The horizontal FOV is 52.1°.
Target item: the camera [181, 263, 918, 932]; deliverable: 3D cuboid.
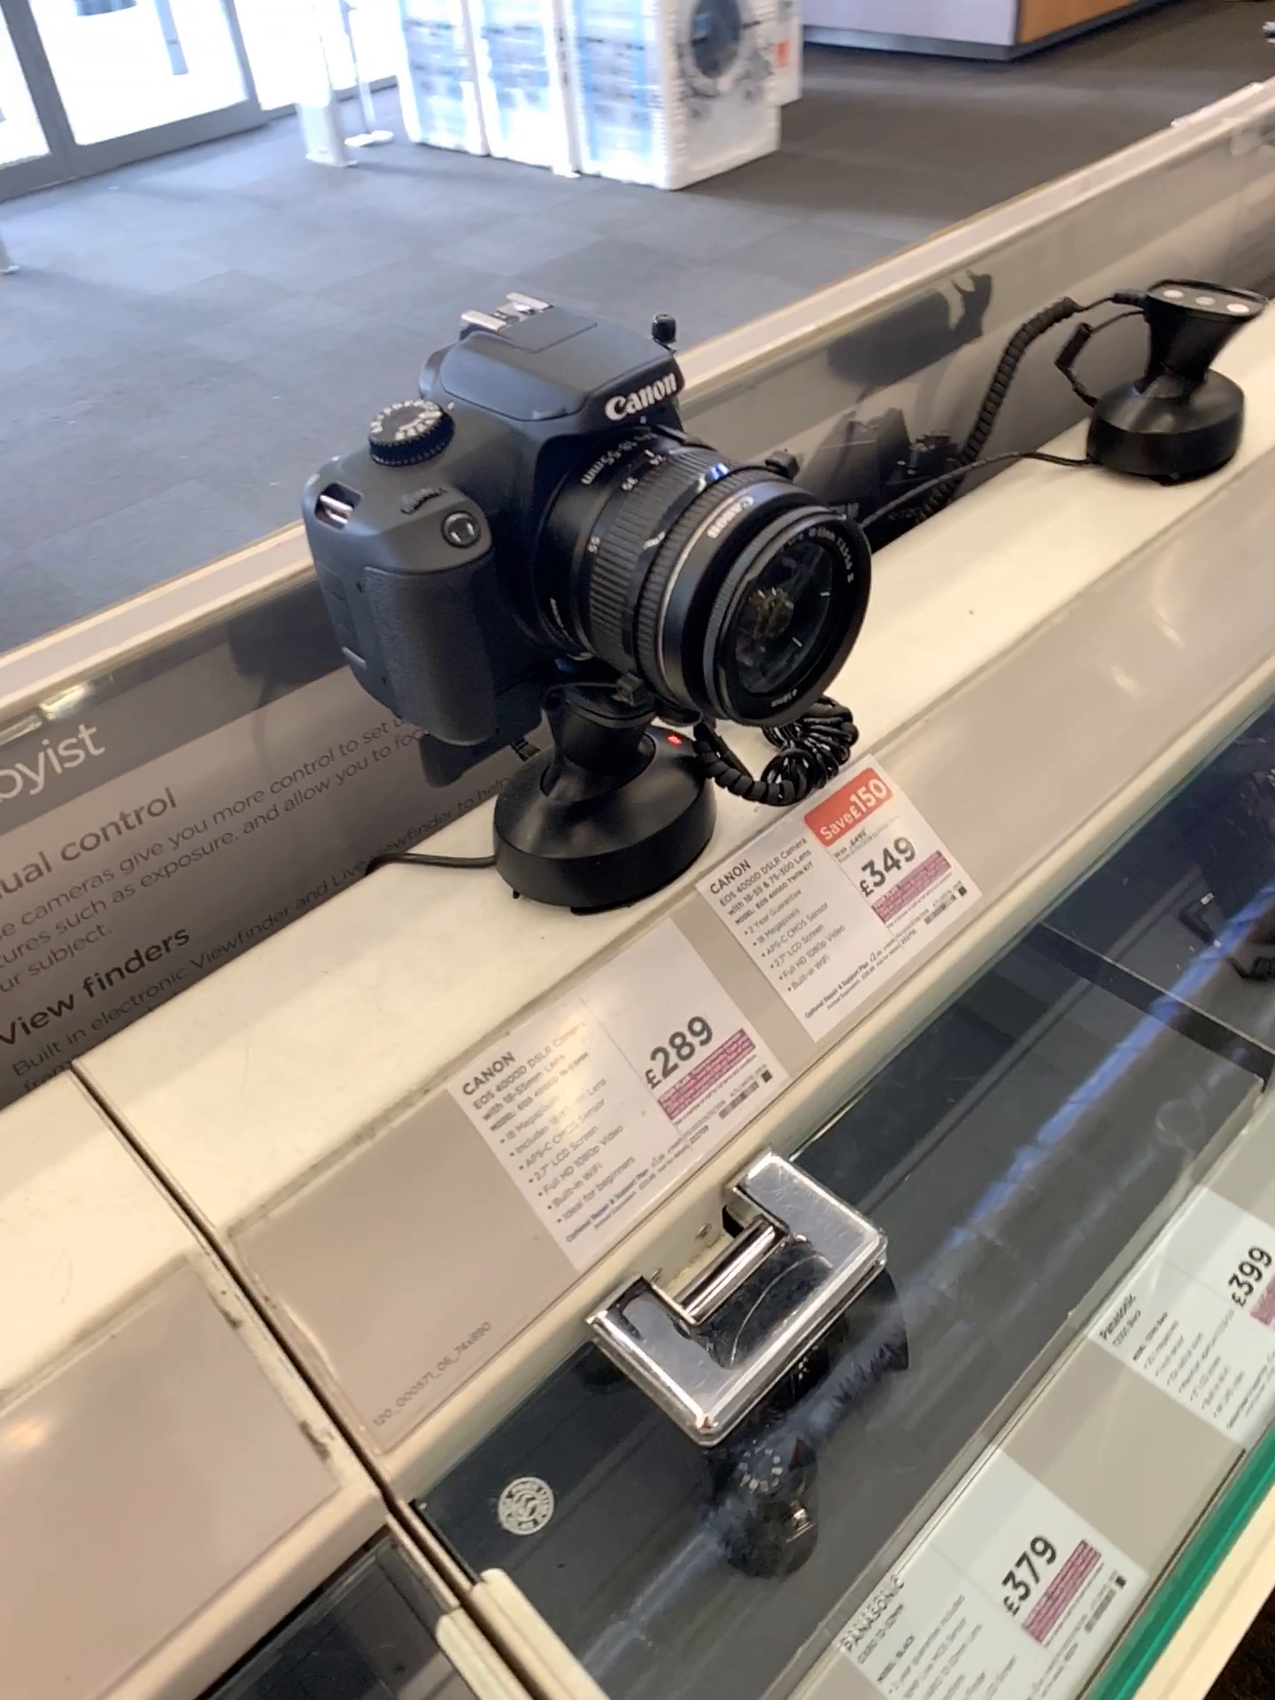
[{"bbox_3d":[-0.022,-0.082,0.373,0.140,0.101,0.136,-32,47,-26],"label":"camera"}]
